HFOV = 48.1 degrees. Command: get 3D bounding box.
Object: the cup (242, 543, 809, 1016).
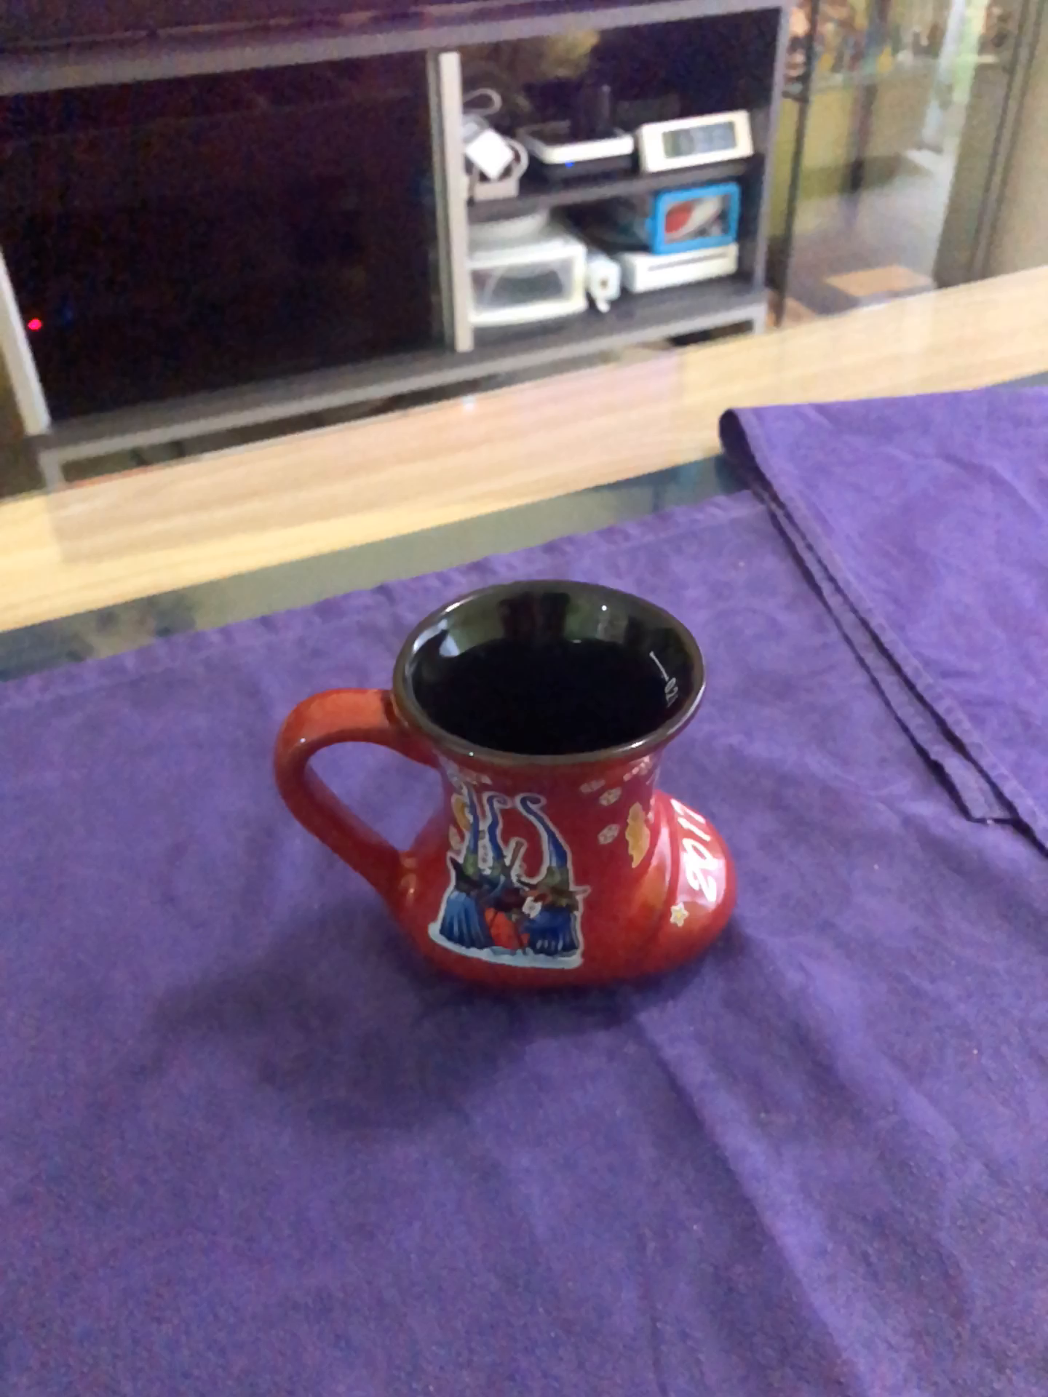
[{"bbox_3d":[-0.001,0.021,0.303,0.120,0.090,0.070,-4,39,-2],"label":"cup"}]
